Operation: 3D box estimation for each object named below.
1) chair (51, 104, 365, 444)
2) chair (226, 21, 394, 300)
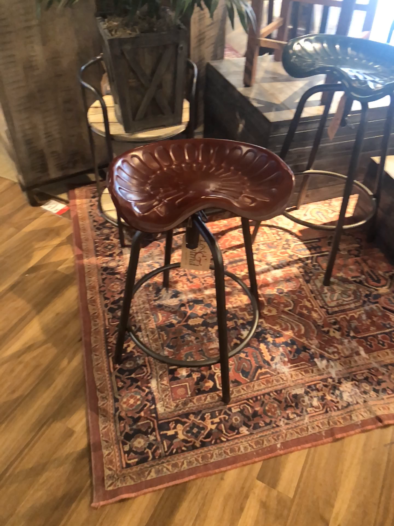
[{"bbox_3d":[-0.029,0.001,1.252,0.567,0.627,0.612,-14,45,-17],"label":"chair"},{"bbox_3d":[0.534,-0.411,1.652,0.537,0.736,0.612,29,49,26],"label":"chair"}]
